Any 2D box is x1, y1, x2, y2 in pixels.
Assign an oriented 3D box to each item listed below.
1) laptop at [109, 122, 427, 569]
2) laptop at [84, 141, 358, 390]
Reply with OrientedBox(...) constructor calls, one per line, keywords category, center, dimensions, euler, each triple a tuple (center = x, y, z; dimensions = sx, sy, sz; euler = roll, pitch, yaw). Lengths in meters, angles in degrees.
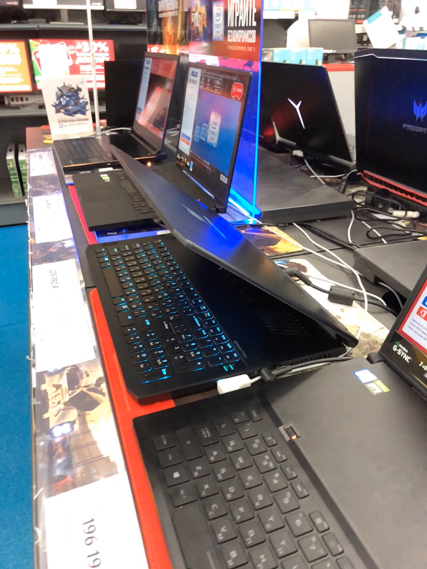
OrientedBox(category="laptop", center=(0.159, 0.071, 0.269), dimensions=(0.363, 0.235, 0.373), euler=(-10, 29, -17))
OrientedBox(category="laptop", center=(-0.027, -0.065, 0.616), dimensions=(0.226, 0.152, 0.372), euler=(-11, 29, -16))
